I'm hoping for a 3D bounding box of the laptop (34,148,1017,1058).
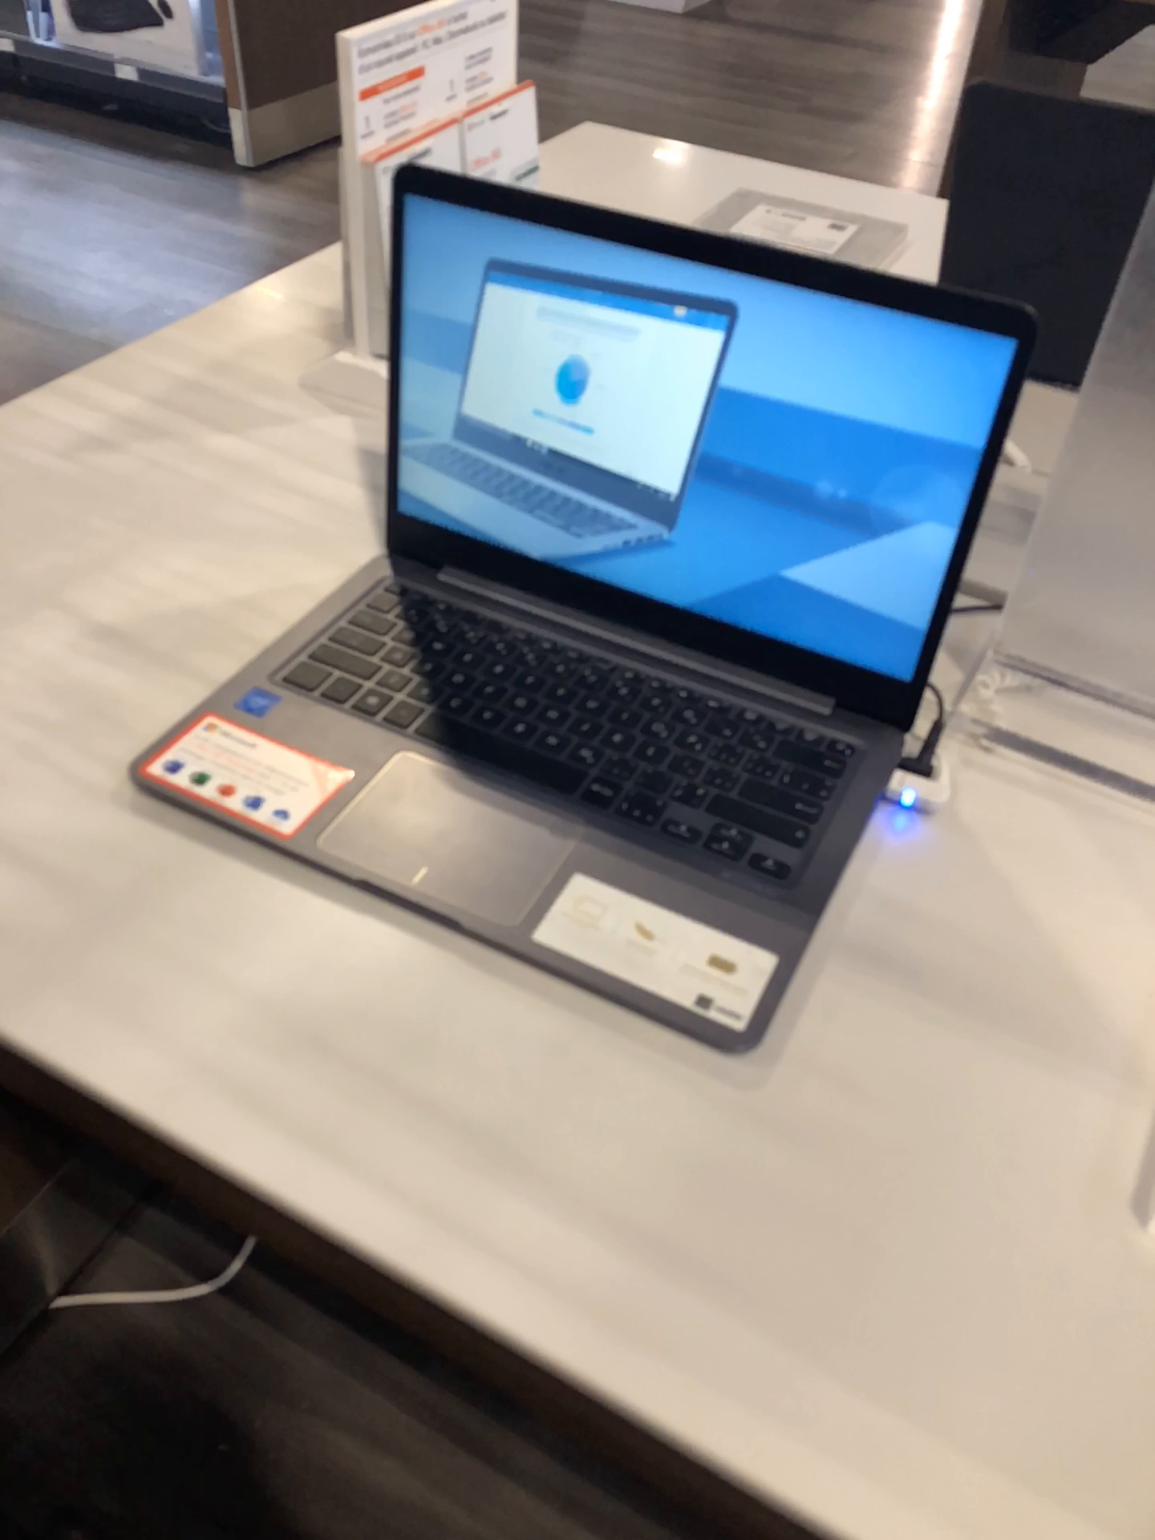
[{"bbox_3d":[-0.009,-0.108,0.600,0.333,0.180,0.301,20,50,16],"label":"laptop"}]
